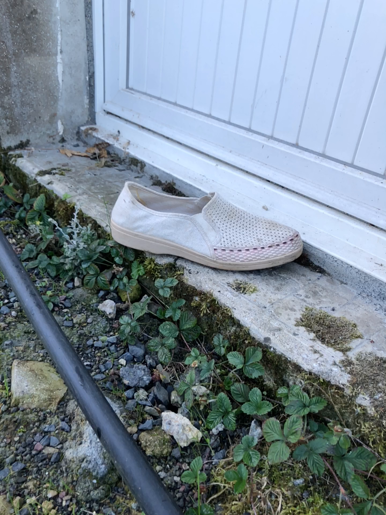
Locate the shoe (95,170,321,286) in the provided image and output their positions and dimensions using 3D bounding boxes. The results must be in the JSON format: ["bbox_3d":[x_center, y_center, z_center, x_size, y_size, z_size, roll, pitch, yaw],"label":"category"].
[{"bbox_3d":[0.020,-0.045,0.582,0.280,0.080,0.101,9,31,5],"label":"shoe"}]
